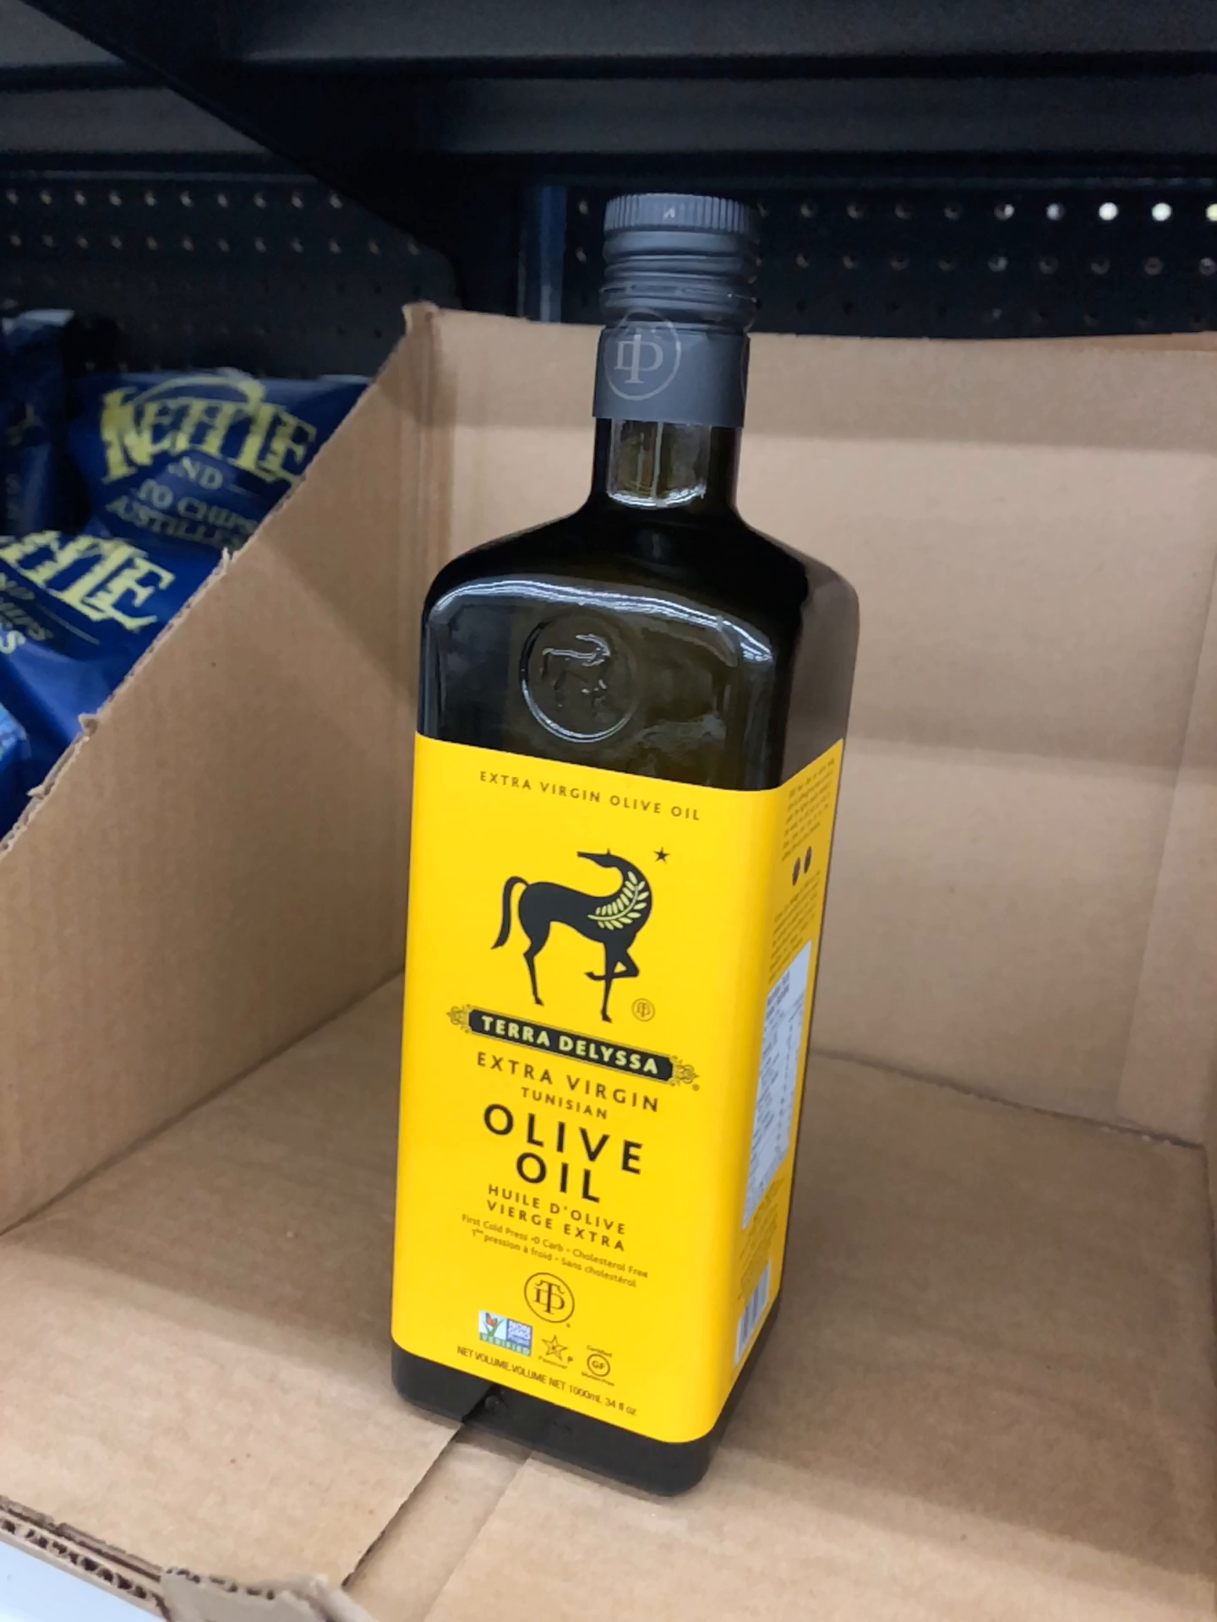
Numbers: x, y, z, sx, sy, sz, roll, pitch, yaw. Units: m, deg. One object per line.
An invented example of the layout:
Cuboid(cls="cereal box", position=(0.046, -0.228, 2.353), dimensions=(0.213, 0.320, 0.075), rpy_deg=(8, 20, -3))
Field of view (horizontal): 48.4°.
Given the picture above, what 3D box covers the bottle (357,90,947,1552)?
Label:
Cuboid(cls="bottle", position=(0.007, 0.005, 0.310), dimensions=(0.090, 0.288, 0.090), rpy_deg=(2, 17, -1))
